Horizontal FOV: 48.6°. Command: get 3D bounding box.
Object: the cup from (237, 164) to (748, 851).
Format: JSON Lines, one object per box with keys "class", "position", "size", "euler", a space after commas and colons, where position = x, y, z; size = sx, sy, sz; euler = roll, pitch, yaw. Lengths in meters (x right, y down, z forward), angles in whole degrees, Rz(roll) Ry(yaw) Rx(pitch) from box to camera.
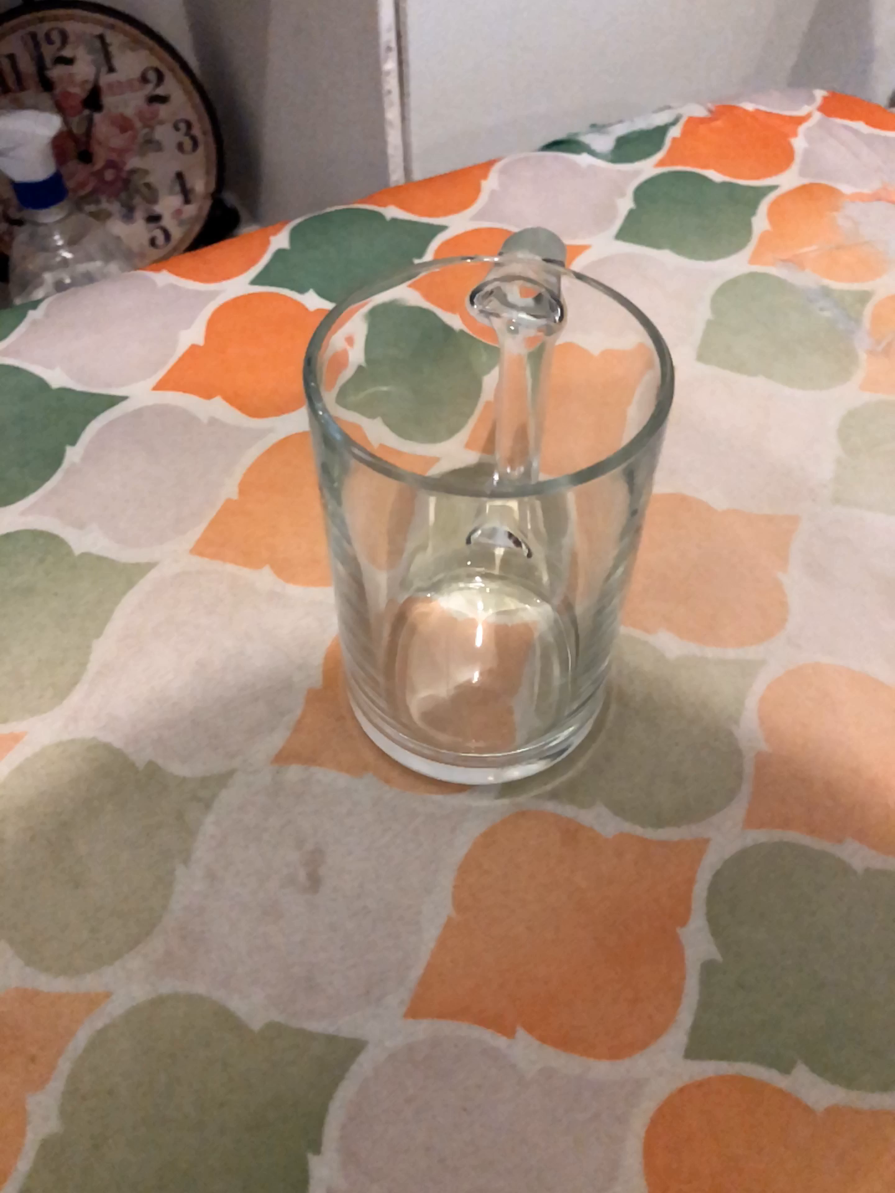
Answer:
{"class": "cup", "position": [0.016, -0.020, 0.229], "size": [0.080, 0.099, 0.111], "euler": [9, 54, 7]}
